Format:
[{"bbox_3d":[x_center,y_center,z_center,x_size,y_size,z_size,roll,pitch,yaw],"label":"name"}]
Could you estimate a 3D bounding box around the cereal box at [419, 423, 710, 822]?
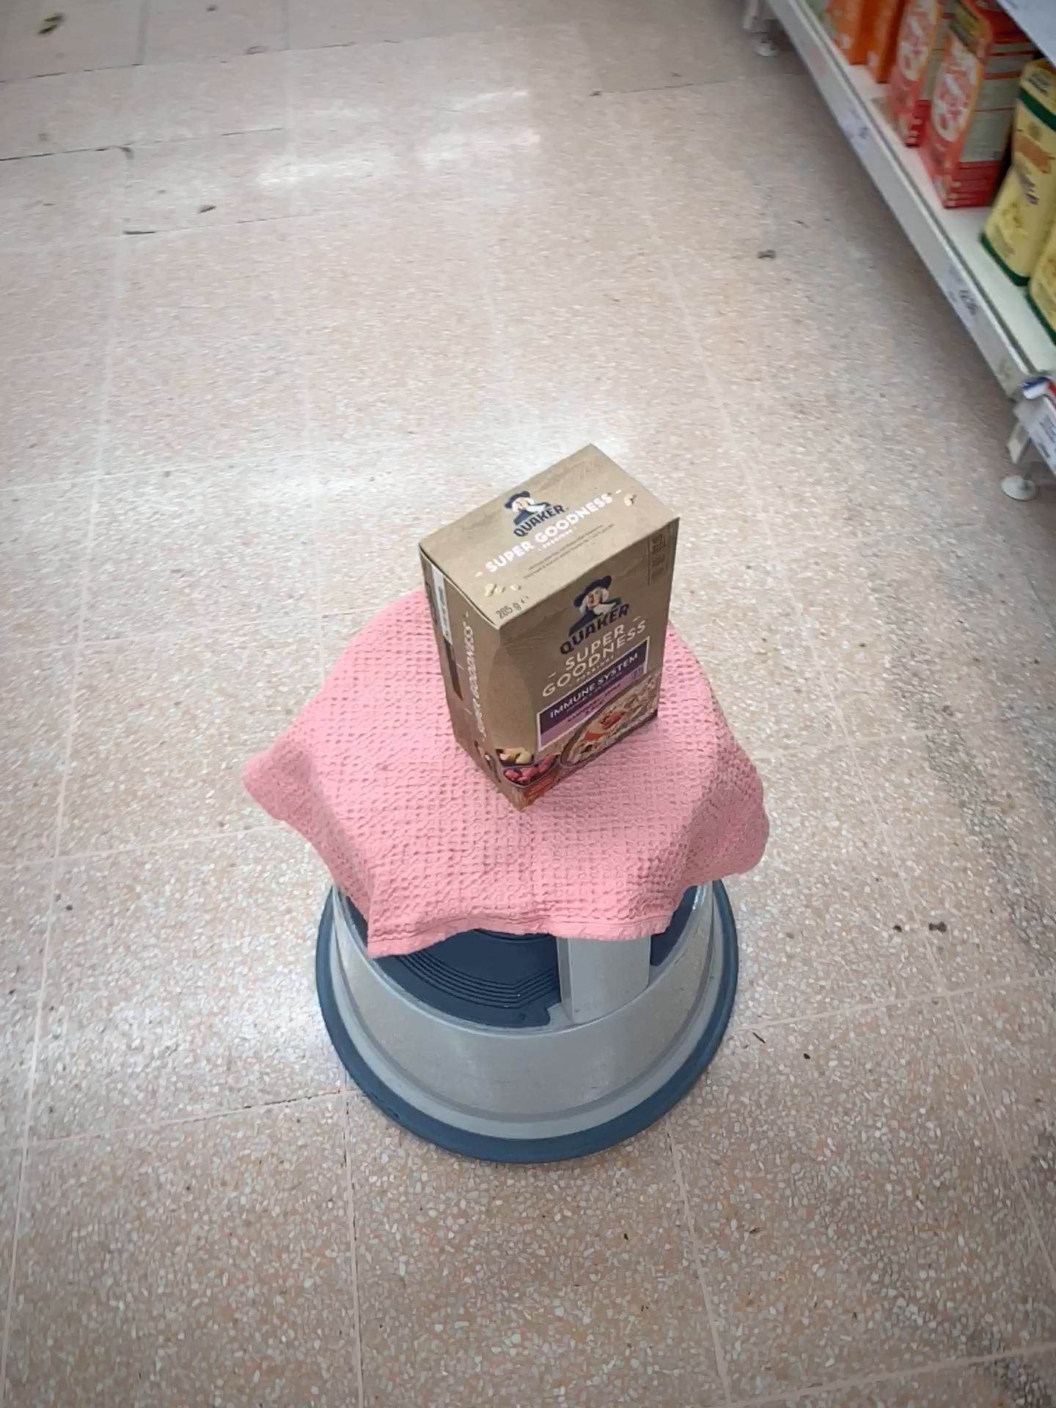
[{"bbox_3d":[0.023,-0.043,0.670,0.130,0.208,0.090,-34,62,-19],"label":"cereal box"}]
